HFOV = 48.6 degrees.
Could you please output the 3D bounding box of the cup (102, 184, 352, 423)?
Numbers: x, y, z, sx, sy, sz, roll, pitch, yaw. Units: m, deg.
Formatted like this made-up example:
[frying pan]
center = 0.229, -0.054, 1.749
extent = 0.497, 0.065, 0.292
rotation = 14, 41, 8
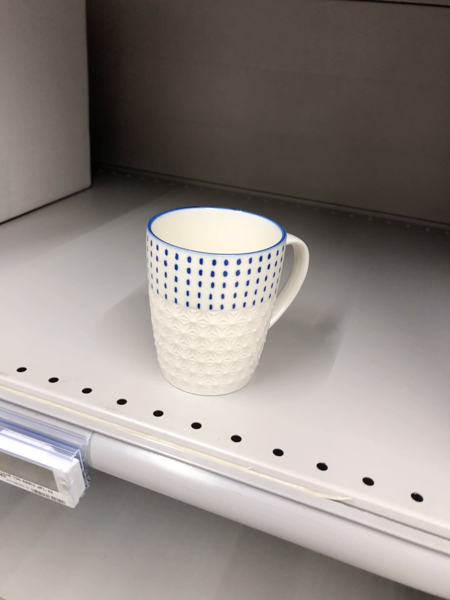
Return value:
[cup]
center = 0.001, -0.009, 0.325
extent = 0.120, 0.096, 0.096
rotation = -22, 37, -40
